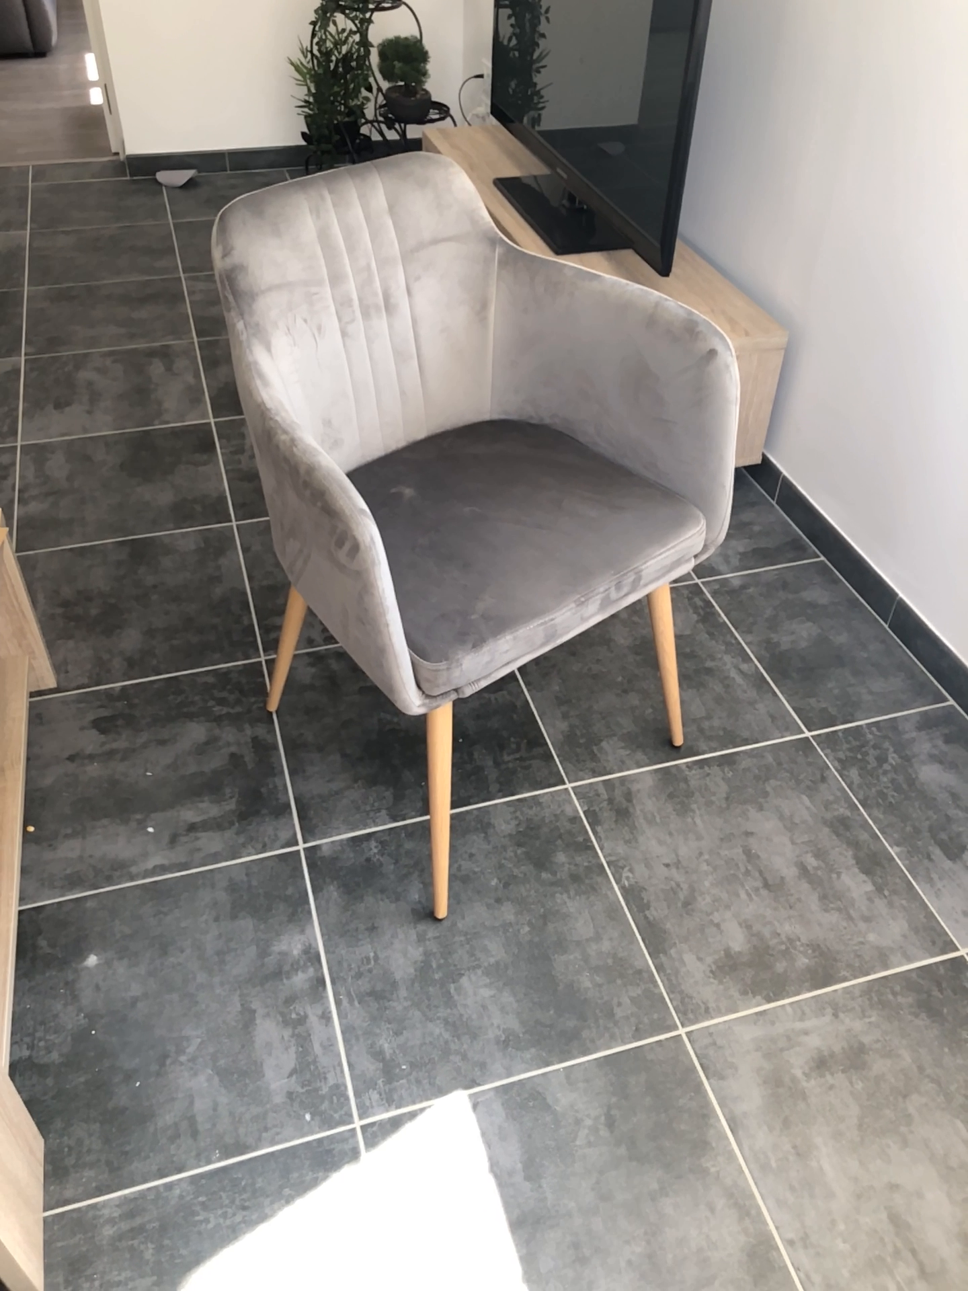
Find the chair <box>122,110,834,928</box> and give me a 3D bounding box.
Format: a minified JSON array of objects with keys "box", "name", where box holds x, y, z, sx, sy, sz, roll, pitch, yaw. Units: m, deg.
[{"box":[-0.020,-0.195,1.498,0.593,0.825,0.581,-29,49,-30],"name":"chair"}]
